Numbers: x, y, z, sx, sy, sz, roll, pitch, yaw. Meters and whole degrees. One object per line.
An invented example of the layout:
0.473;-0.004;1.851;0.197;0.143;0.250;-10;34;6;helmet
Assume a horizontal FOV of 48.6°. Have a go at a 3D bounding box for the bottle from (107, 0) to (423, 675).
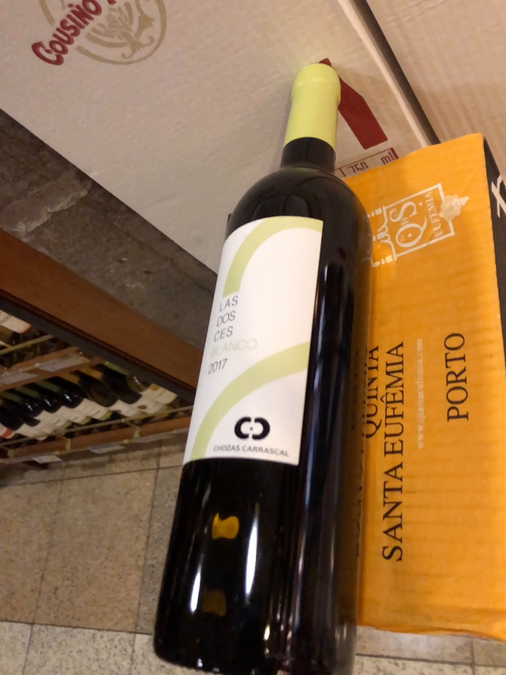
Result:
0.020;-0.023;0.265;0.090;0.070;0.321;-11;62;34;bottle
